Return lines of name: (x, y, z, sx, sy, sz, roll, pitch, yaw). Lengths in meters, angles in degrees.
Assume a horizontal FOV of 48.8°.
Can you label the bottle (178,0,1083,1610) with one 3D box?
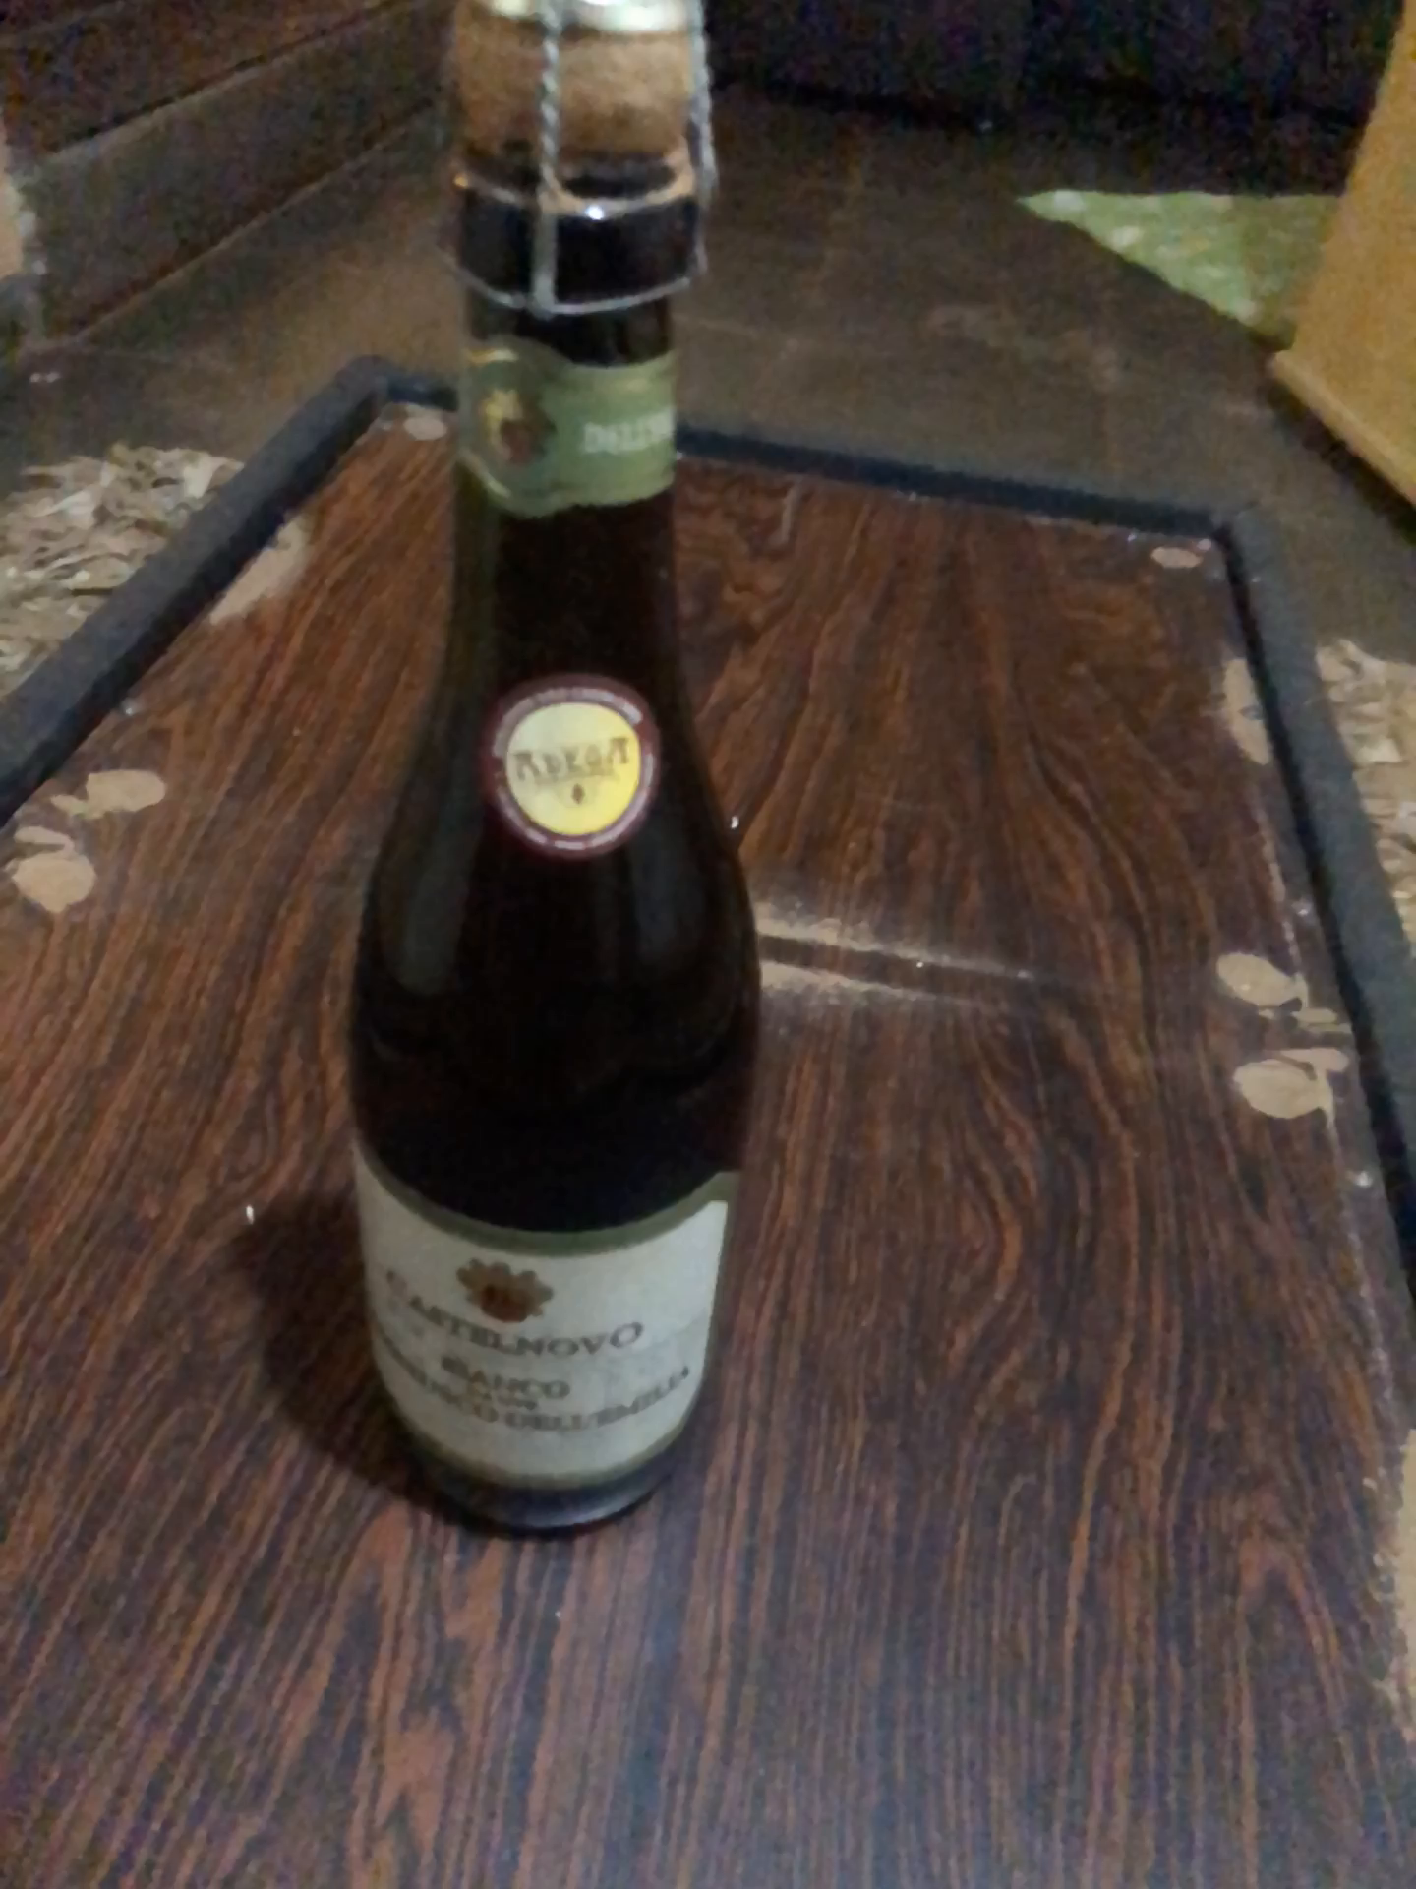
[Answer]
bottle: (-0.018, -0.010, 0.287, 0.090, 0.298, 0.091, 5, 38, -4)
